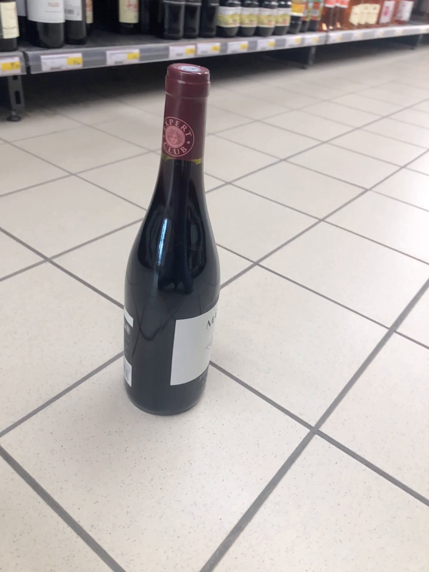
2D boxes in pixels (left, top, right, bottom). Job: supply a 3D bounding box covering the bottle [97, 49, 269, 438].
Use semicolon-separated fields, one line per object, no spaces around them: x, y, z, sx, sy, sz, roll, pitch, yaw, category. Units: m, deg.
-0.030;-0.018;0.379;0.090;0.288;0.091;5;34;-3;bottle
